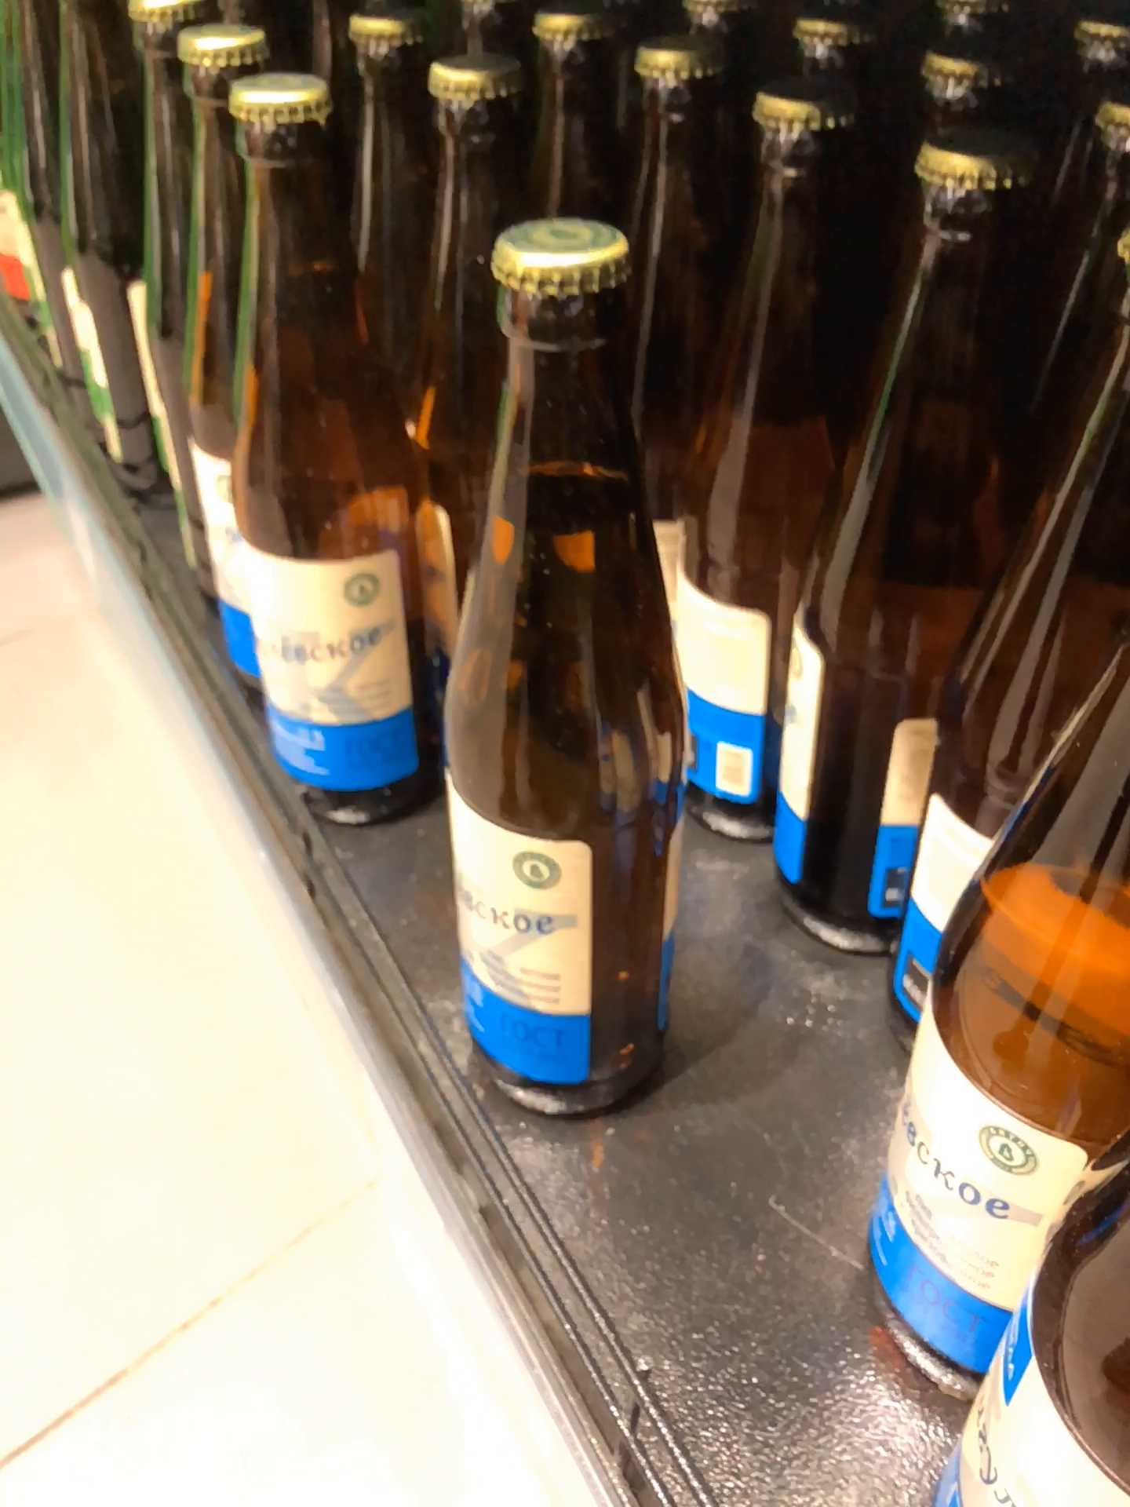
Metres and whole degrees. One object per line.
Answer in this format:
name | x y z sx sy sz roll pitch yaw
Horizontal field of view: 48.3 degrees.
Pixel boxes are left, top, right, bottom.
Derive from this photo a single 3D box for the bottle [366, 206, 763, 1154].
bottle | 0.001 -0.001 0.332 0.070 0.249 0.070 -2 40 1
